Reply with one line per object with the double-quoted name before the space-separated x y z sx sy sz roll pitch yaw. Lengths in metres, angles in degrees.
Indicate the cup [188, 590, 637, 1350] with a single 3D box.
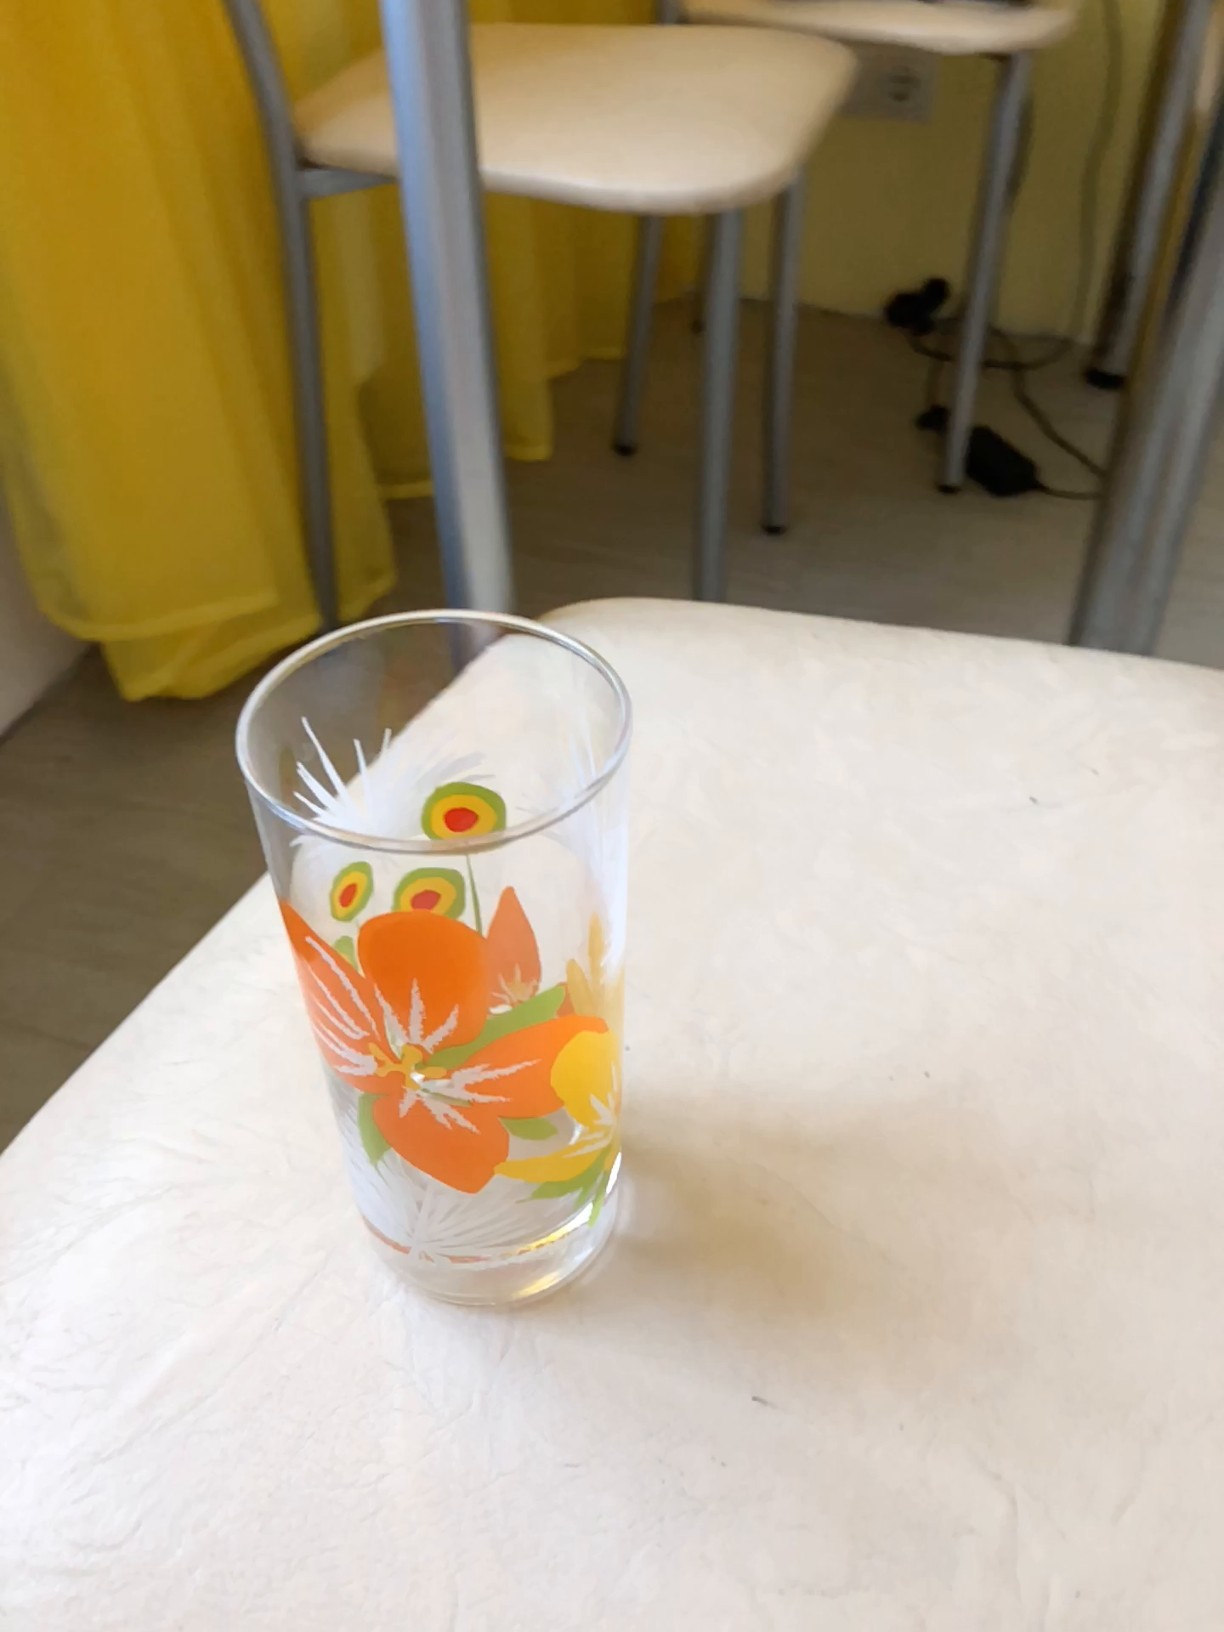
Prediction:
"cup" -0.030 0.034 0.255 0.061 0.133 0.064 -1 42 1
